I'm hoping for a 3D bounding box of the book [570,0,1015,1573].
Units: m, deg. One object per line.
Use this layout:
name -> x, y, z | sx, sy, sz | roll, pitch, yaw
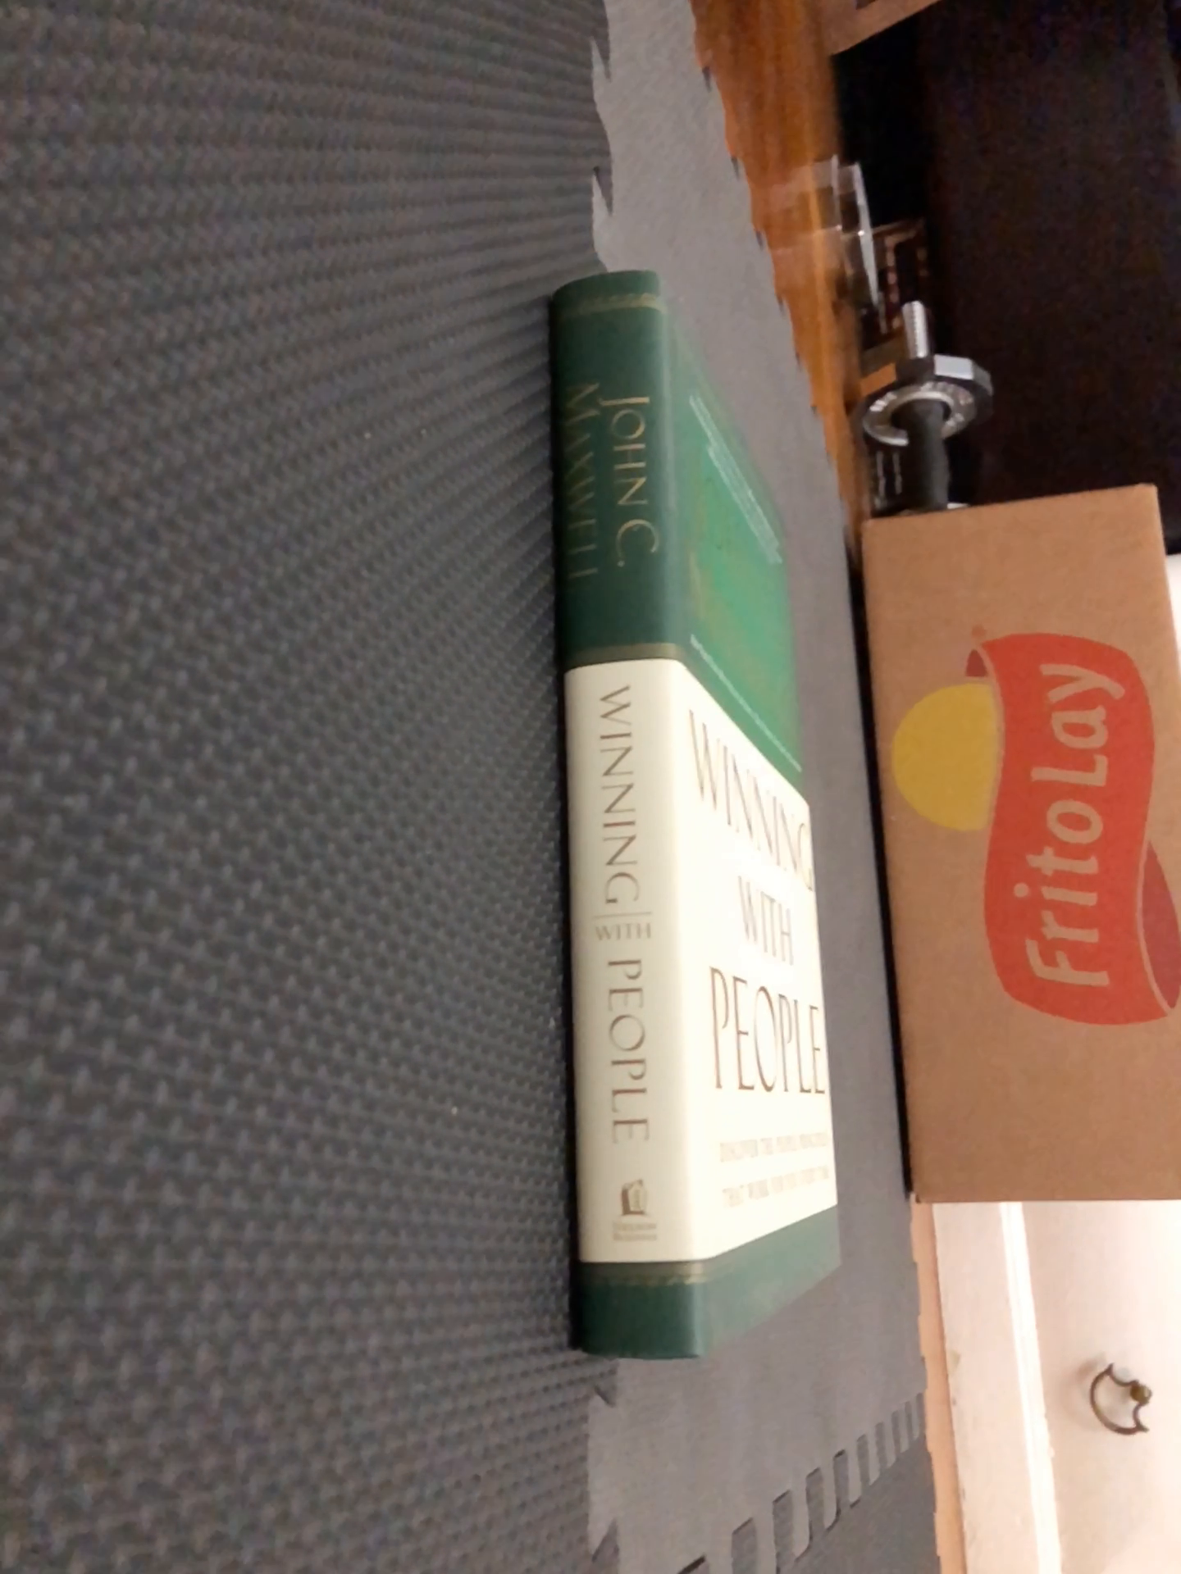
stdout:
book -> 0.049, -0.004, 0.268 | 0.201, 0.030, 0.290 | 39, 47, -64
